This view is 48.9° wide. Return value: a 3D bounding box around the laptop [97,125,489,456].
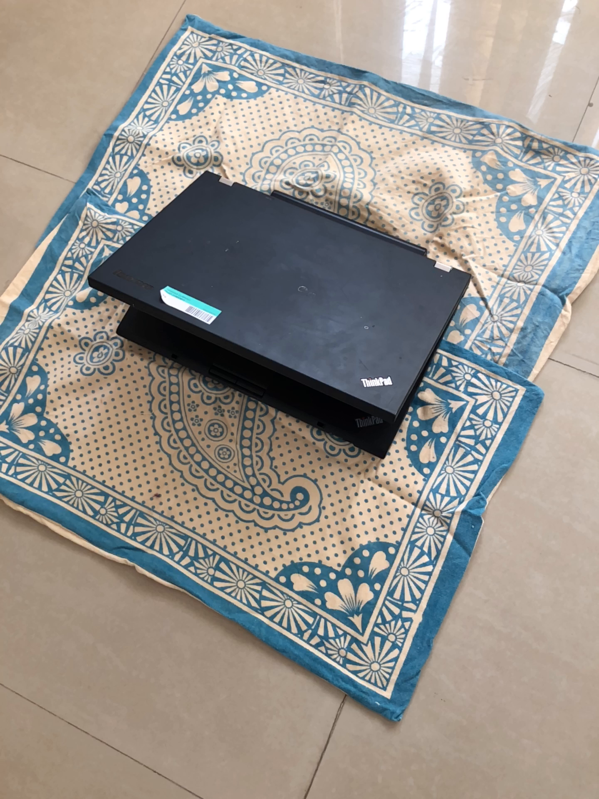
[{"bbox_3d":[-0.008,-0.130,0.750,0.348,0.125,0.240,26,77,18],"label":"laptop"}]
